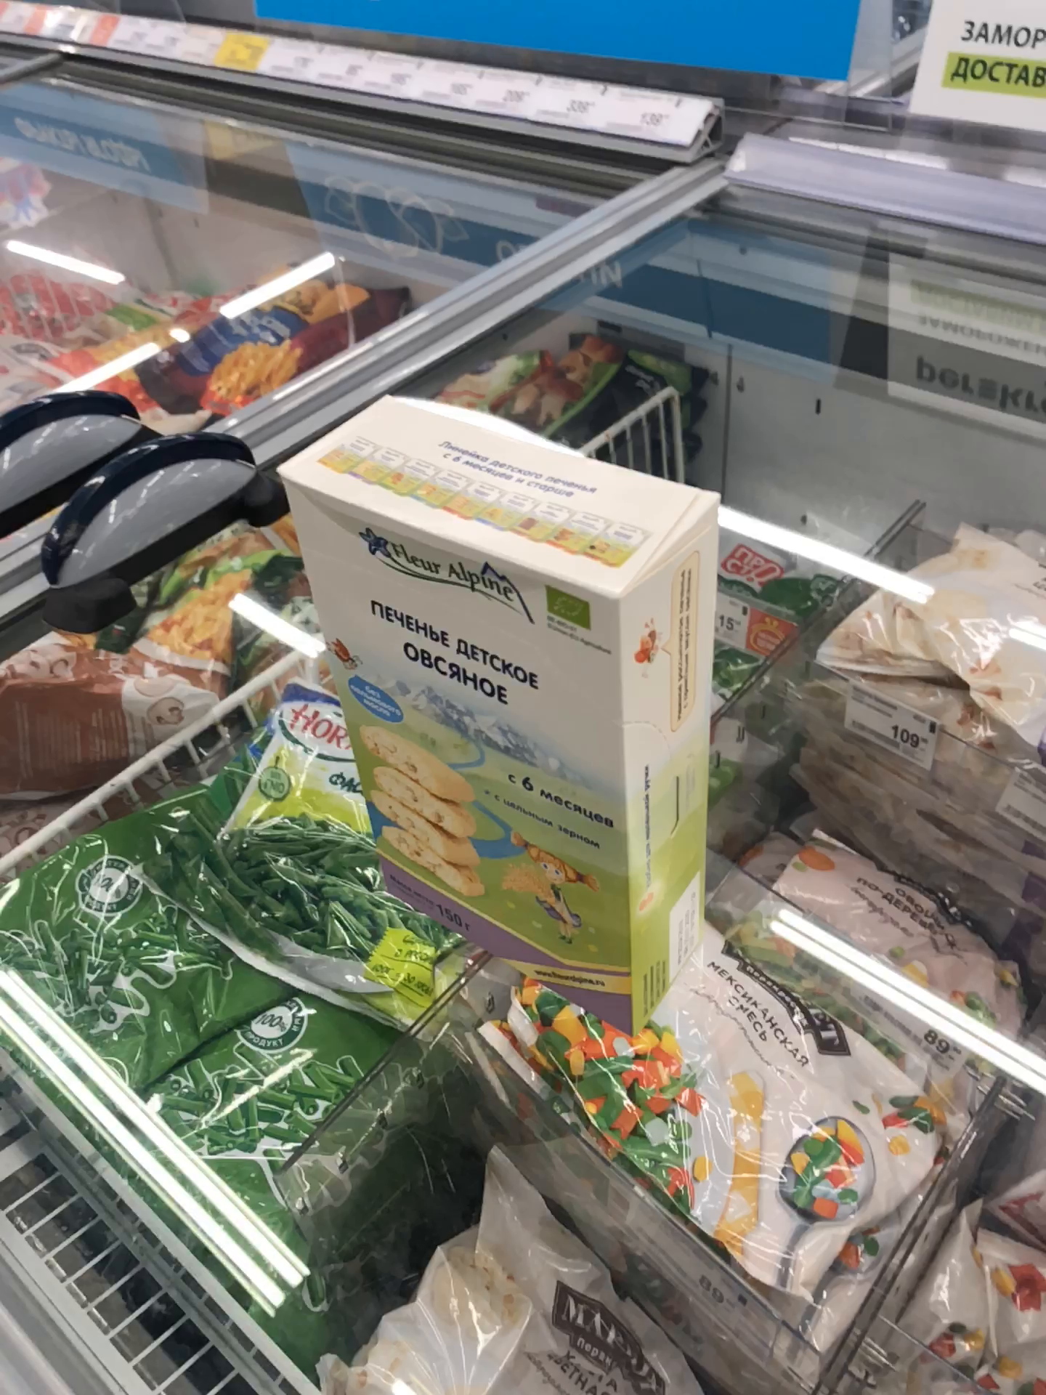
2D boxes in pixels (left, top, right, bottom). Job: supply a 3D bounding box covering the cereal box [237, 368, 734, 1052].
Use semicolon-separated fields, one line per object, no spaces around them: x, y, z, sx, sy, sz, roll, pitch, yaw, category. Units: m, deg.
-0.004;0.010;0.353;0.120;0.189;0.050;23;50;29;cereal box
